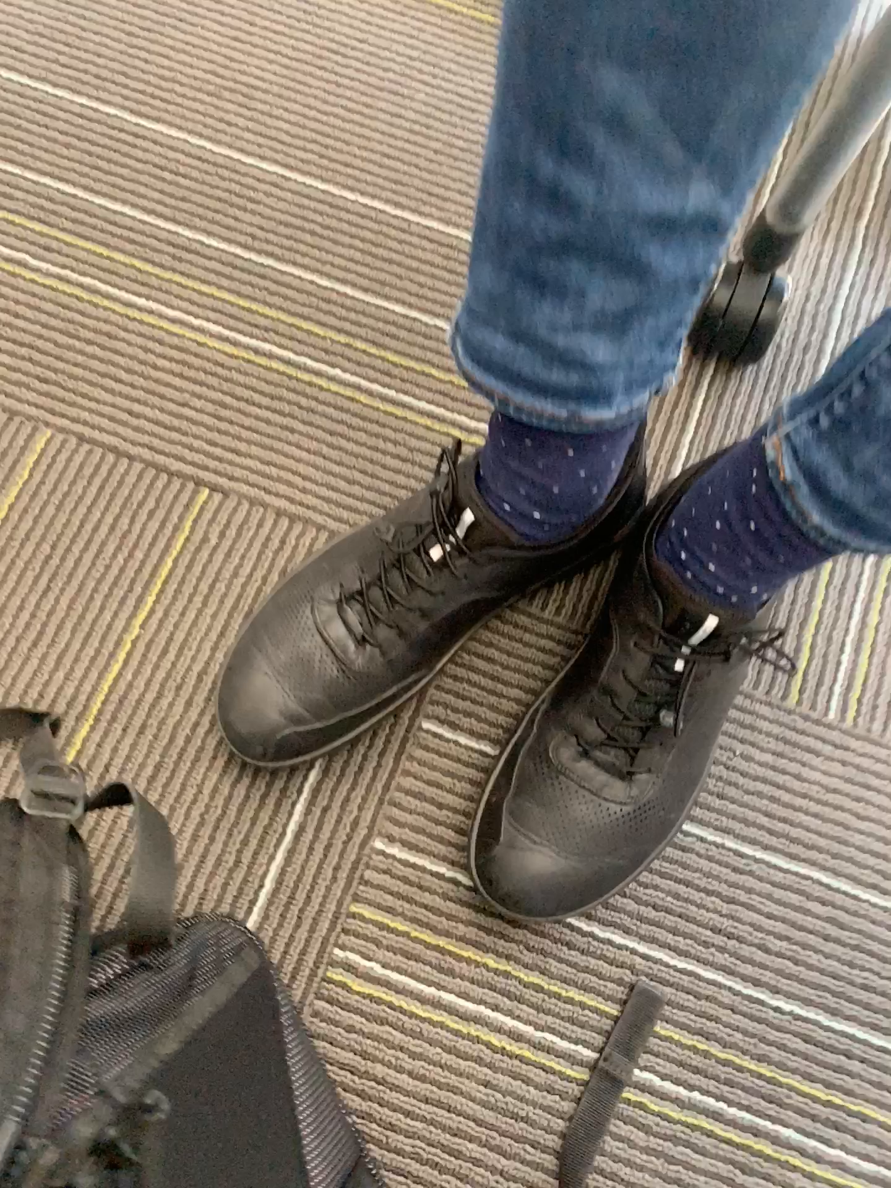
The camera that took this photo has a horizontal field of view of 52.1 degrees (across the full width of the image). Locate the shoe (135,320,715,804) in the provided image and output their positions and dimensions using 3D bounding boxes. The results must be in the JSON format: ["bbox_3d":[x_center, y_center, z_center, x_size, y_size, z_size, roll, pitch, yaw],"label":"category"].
[{"bbox_3d":[-0.007,-0.018,0.543,0.310,0.100,0.110,-35,78,-12],"label":"shoe"}]

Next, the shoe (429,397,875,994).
[{"bbox_3d":[0.118,0.053,0.534,0.110,0.100,0.310,30,74,7],"label":"shoe"}]
